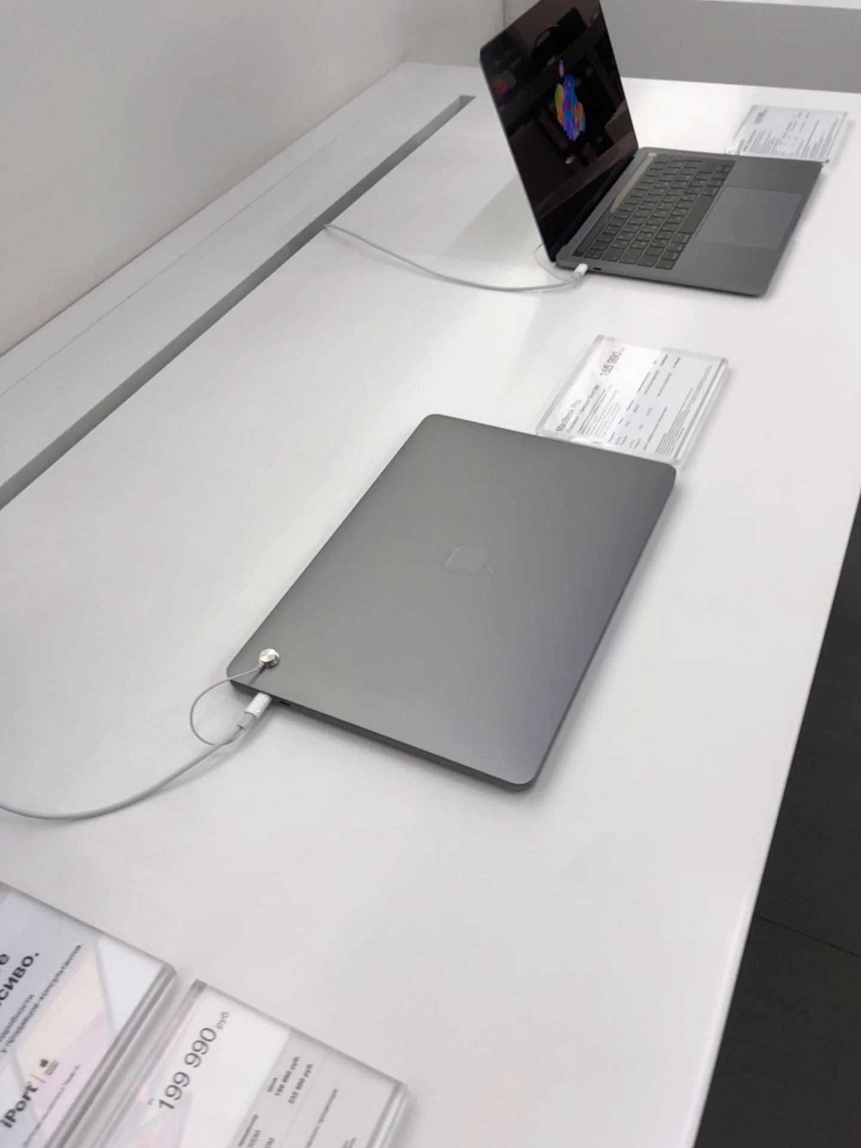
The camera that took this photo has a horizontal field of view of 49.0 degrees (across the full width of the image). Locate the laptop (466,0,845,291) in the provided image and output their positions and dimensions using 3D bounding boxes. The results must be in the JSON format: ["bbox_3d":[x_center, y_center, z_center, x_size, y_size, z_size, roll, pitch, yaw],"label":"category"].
[{"bbox_3d":[0.231,-0.461,0.955,0.276,0.187,0.310,15,47,18],"label":"laptop"}]

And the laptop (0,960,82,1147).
[{"bbox_3d":[-0.360,0.348,0.178,0.380,0.190,0.350,16,48,20],"label":"laptop"}]

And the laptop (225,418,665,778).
[{"bbox_3d":[0.021,-0.006,0.653,0.202,0.001,0.280,17,50,21],"label":"laptop"}]
